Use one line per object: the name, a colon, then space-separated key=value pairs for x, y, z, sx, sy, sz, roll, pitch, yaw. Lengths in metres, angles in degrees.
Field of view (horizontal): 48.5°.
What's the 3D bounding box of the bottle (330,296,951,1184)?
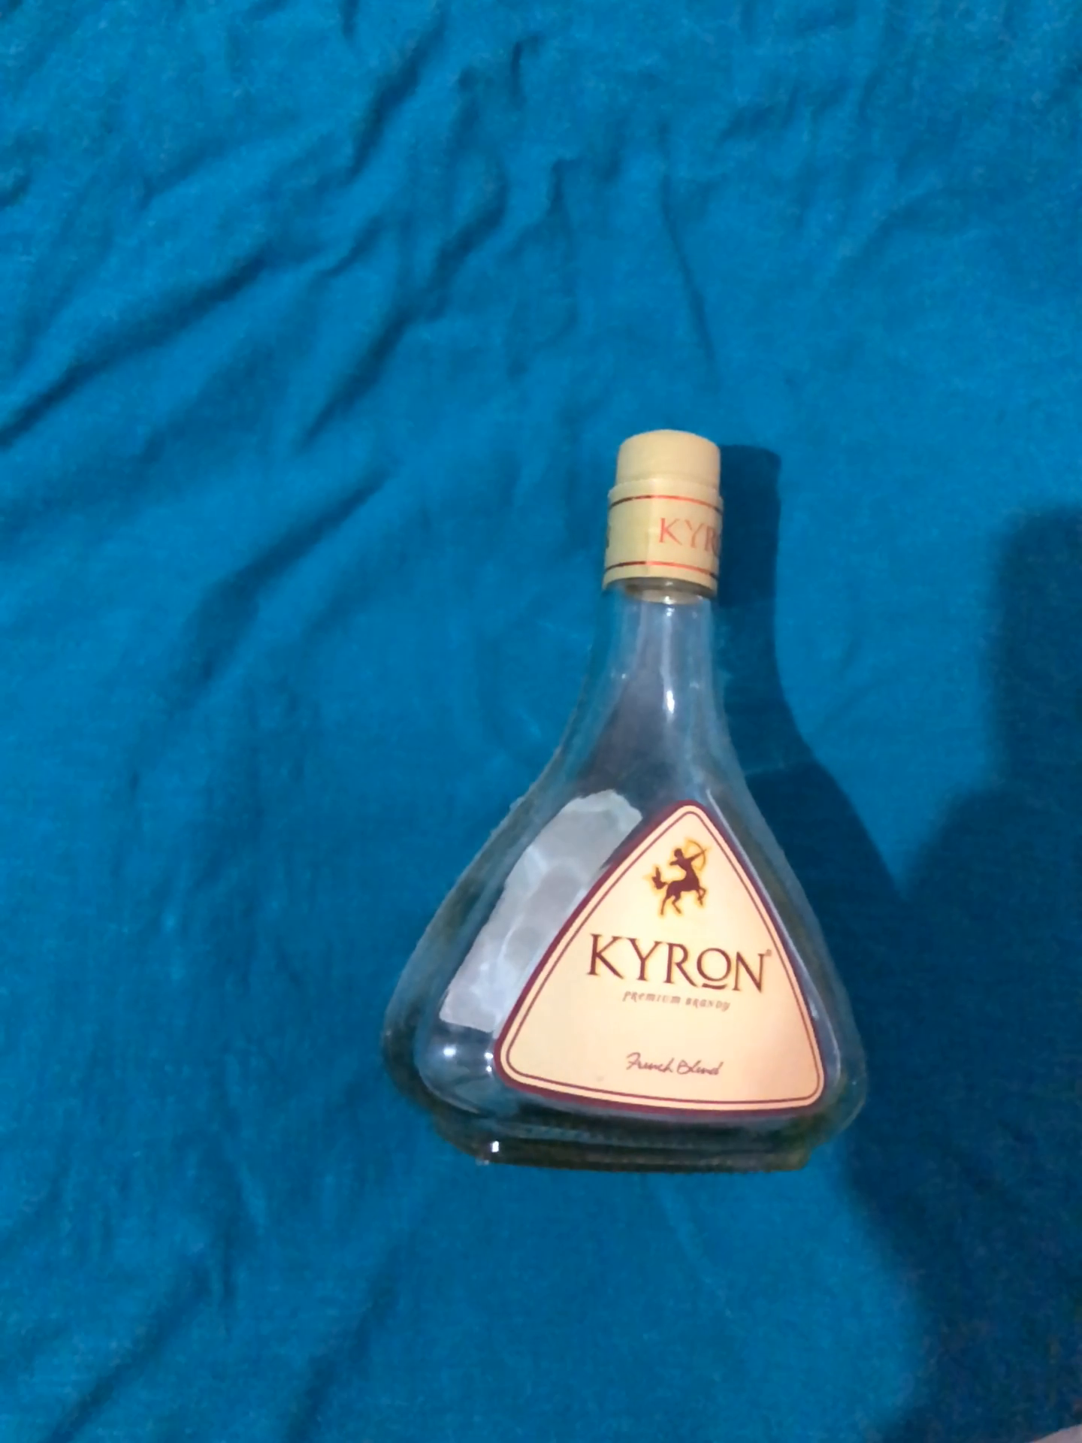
bottle: x=0.023 y=0.009 z=0.288 sx=0.120 sy=0.060 sz=0.180 roll=7 pitch=85 yaw=-16
